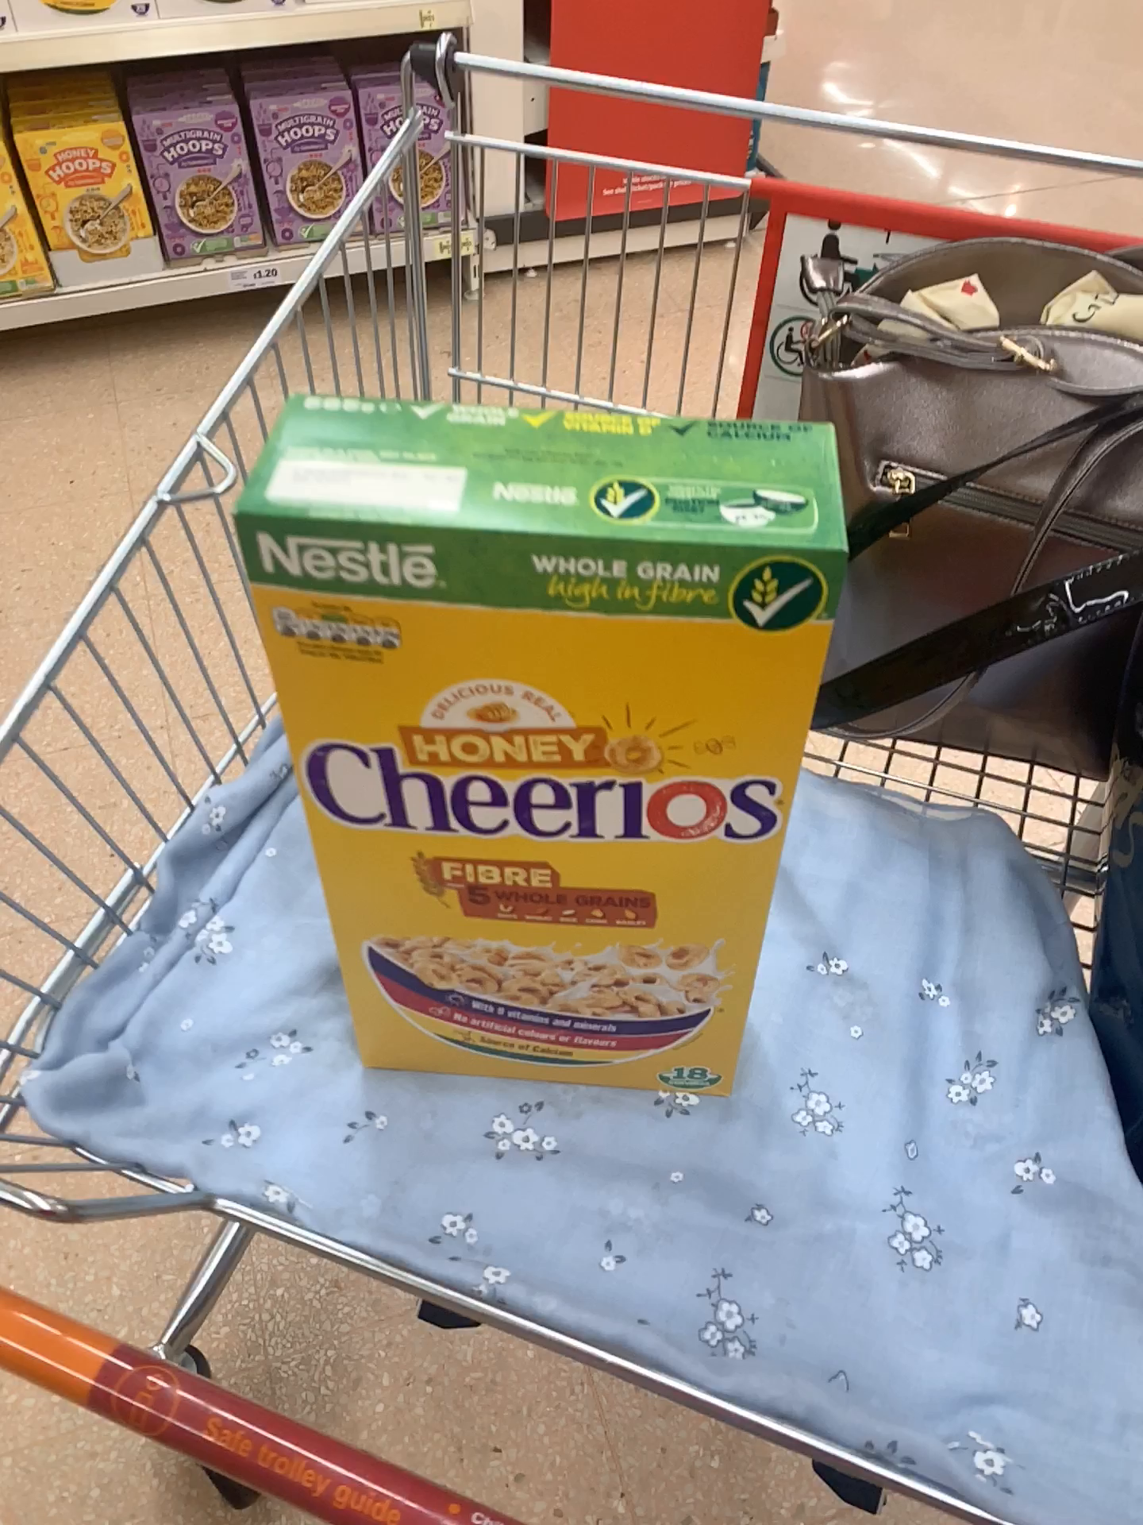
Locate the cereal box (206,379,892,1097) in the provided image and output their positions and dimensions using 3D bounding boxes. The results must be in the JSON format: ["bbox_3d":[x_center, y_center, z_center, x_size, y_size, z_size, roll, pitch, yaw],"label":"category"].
[{"bbox_3d":[-0.009,0.019,0.508,0.210,0.347,0.081,4,47,2],"label":"cereal box"}]
